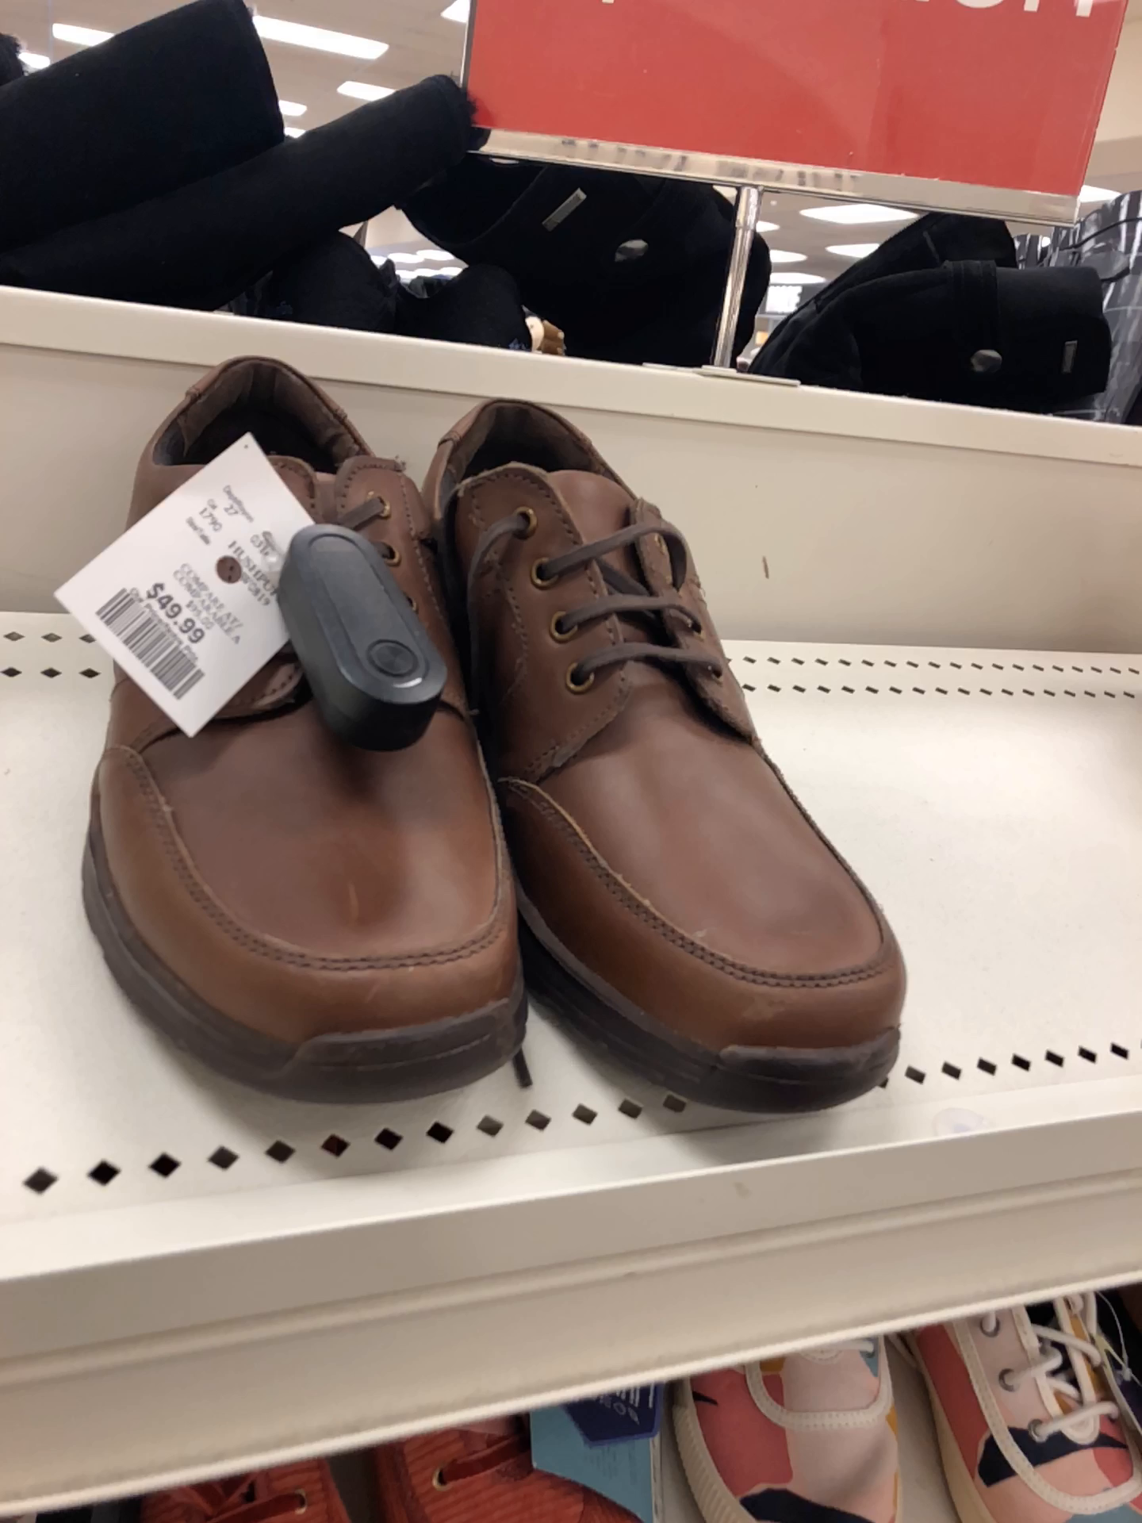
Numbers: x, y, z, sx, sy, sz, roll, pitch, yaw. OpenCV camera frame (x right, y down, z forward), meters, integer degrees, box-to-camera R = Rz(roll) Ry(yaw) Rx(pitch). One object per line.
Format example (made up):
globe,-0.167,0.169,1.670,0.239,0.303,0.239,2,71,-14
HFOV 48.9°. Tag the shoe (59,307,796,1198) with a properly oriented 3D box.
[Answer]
shoe,-0.082,-0.044,0.367,0.120,0.109,0.332,-1,26,-23

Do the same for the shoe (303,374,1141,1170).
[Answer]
shoe,0.016,-0.037,0.402,0.120,0.109,0.342,-1,24,-25
